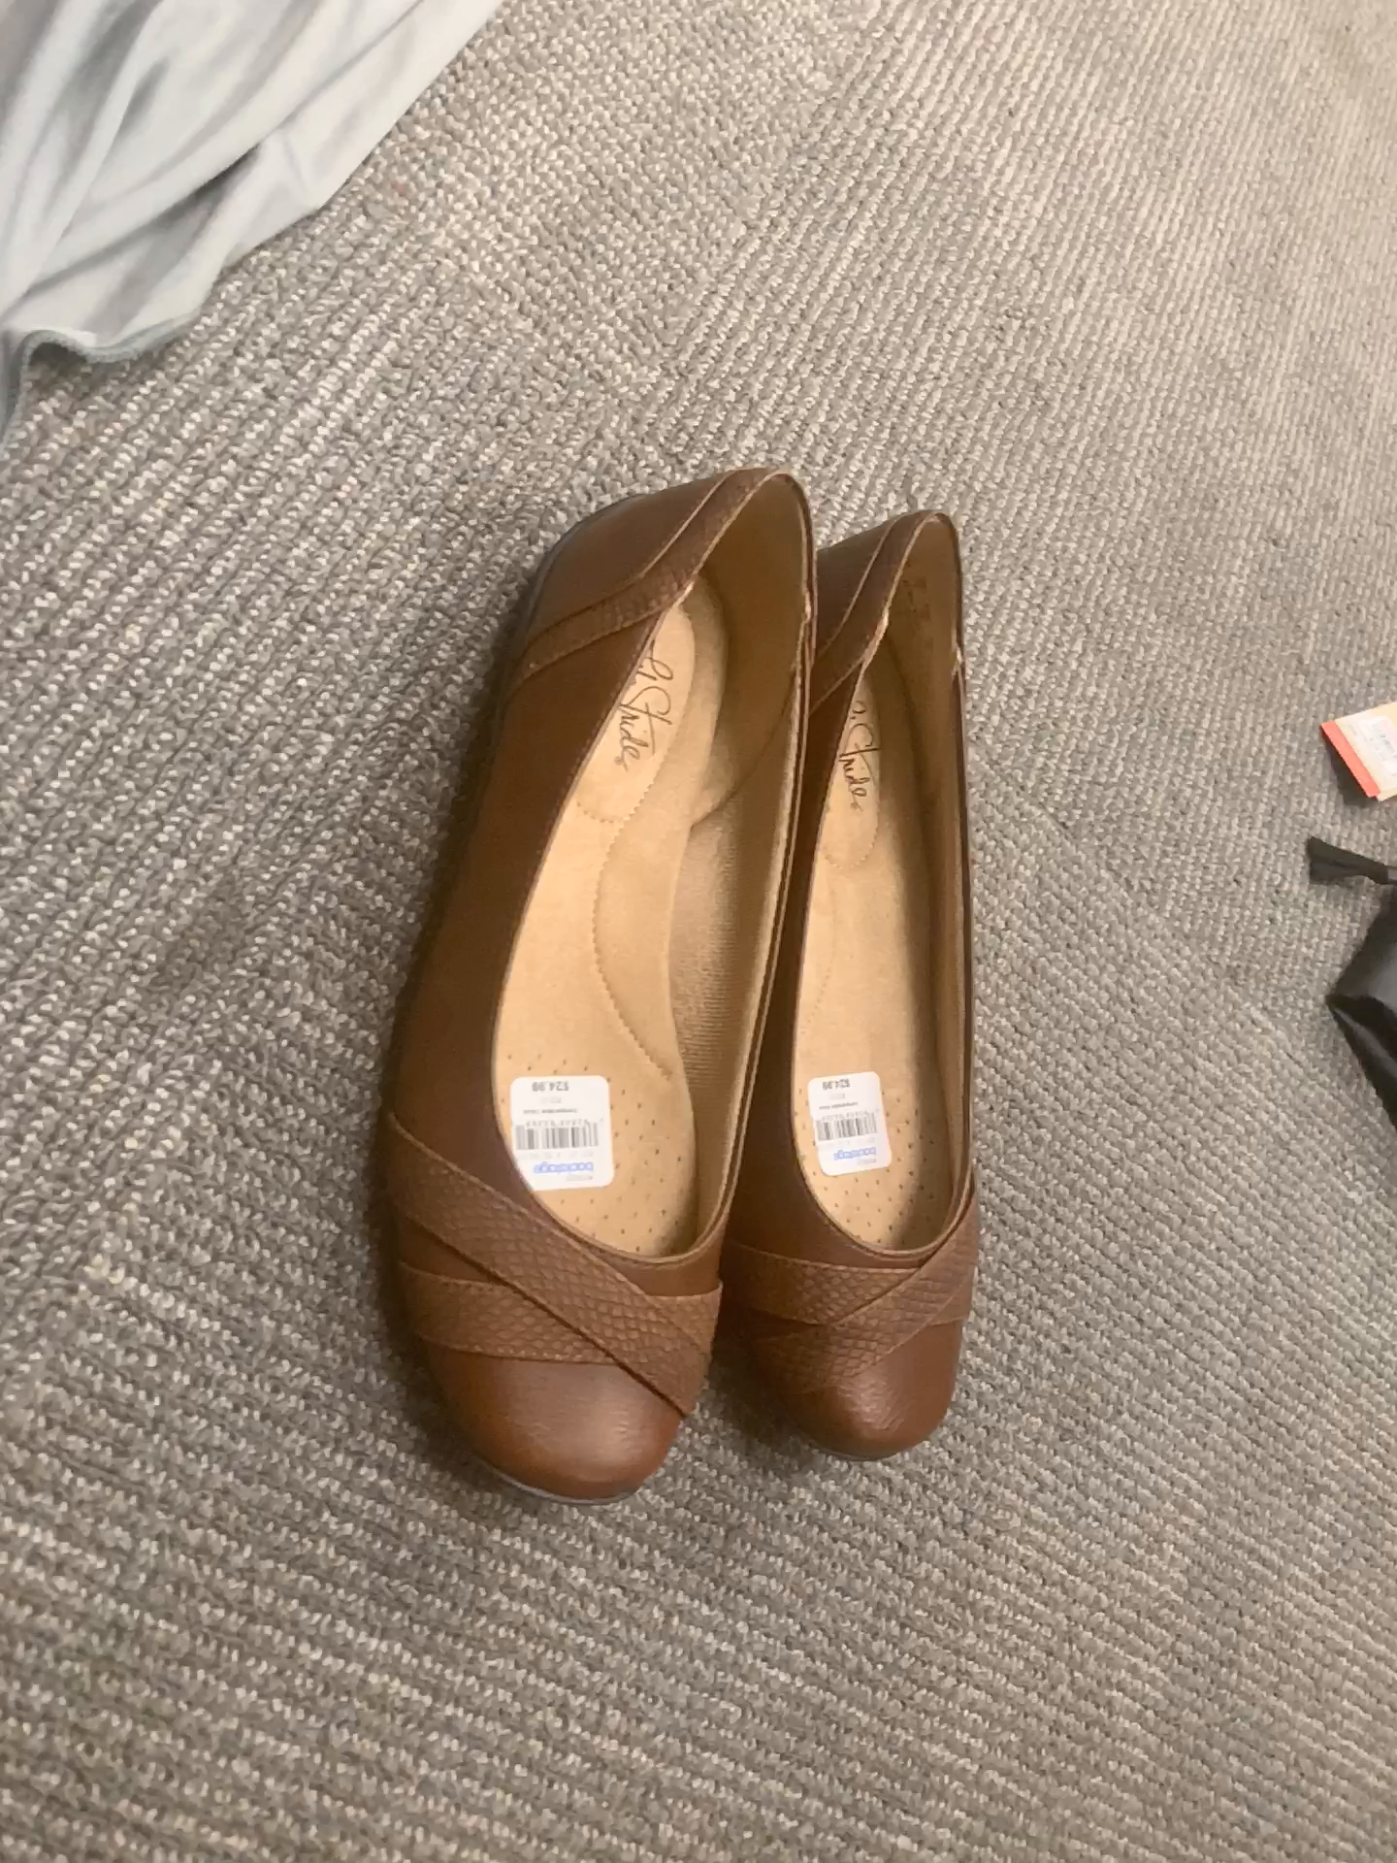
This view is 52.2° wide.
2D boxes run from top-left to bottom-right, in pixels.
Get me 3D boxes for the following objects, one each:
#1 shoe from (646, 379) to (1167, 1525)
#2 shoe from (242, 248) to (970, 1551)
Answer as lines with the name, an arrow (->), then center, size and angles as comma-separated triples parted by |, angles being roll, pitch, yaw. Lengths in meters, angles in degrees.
shoe -> 0.052, 0.006, 0.394 | 0.099, 0.084, 0.271 | 6, 77, -35
shoe -> -0.013, -0.007, 0.342 | 0.100, 0.084, 0.269 | 21, 69, -31
